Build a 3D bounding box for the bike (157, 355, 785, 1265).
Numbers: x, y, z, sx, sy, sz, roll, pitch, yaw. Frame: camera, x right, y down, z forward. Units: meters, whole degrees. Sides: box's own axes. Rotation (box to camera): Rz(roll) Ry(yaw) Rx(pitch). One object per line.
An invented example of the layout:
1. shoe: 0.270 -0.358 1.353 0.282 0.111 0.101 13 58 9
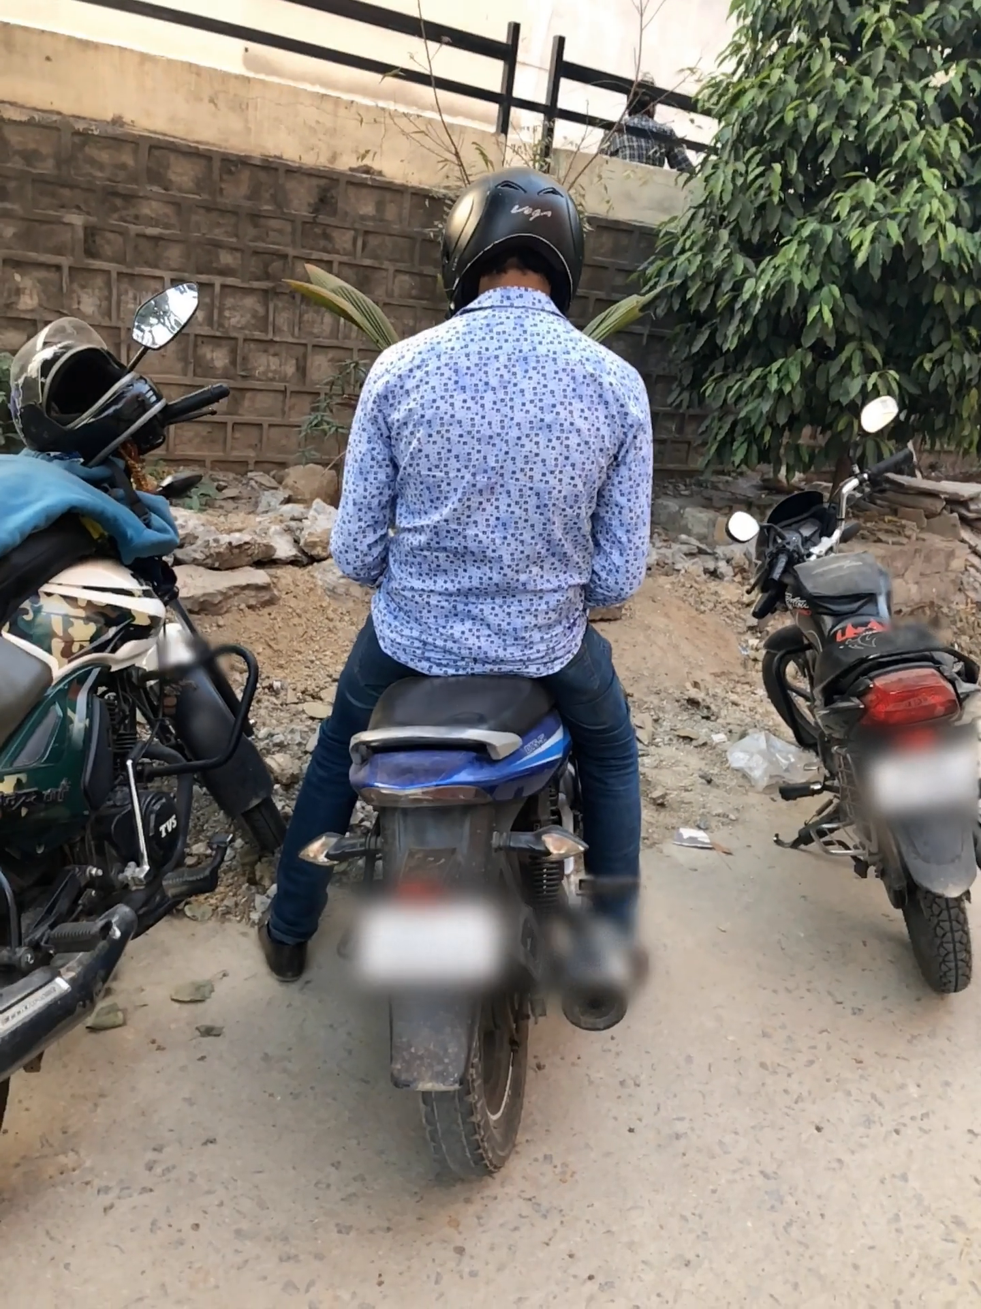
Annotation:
1. bike: -0.021 0.076 2.220 0.754 1.077 1.584 8 21 2
